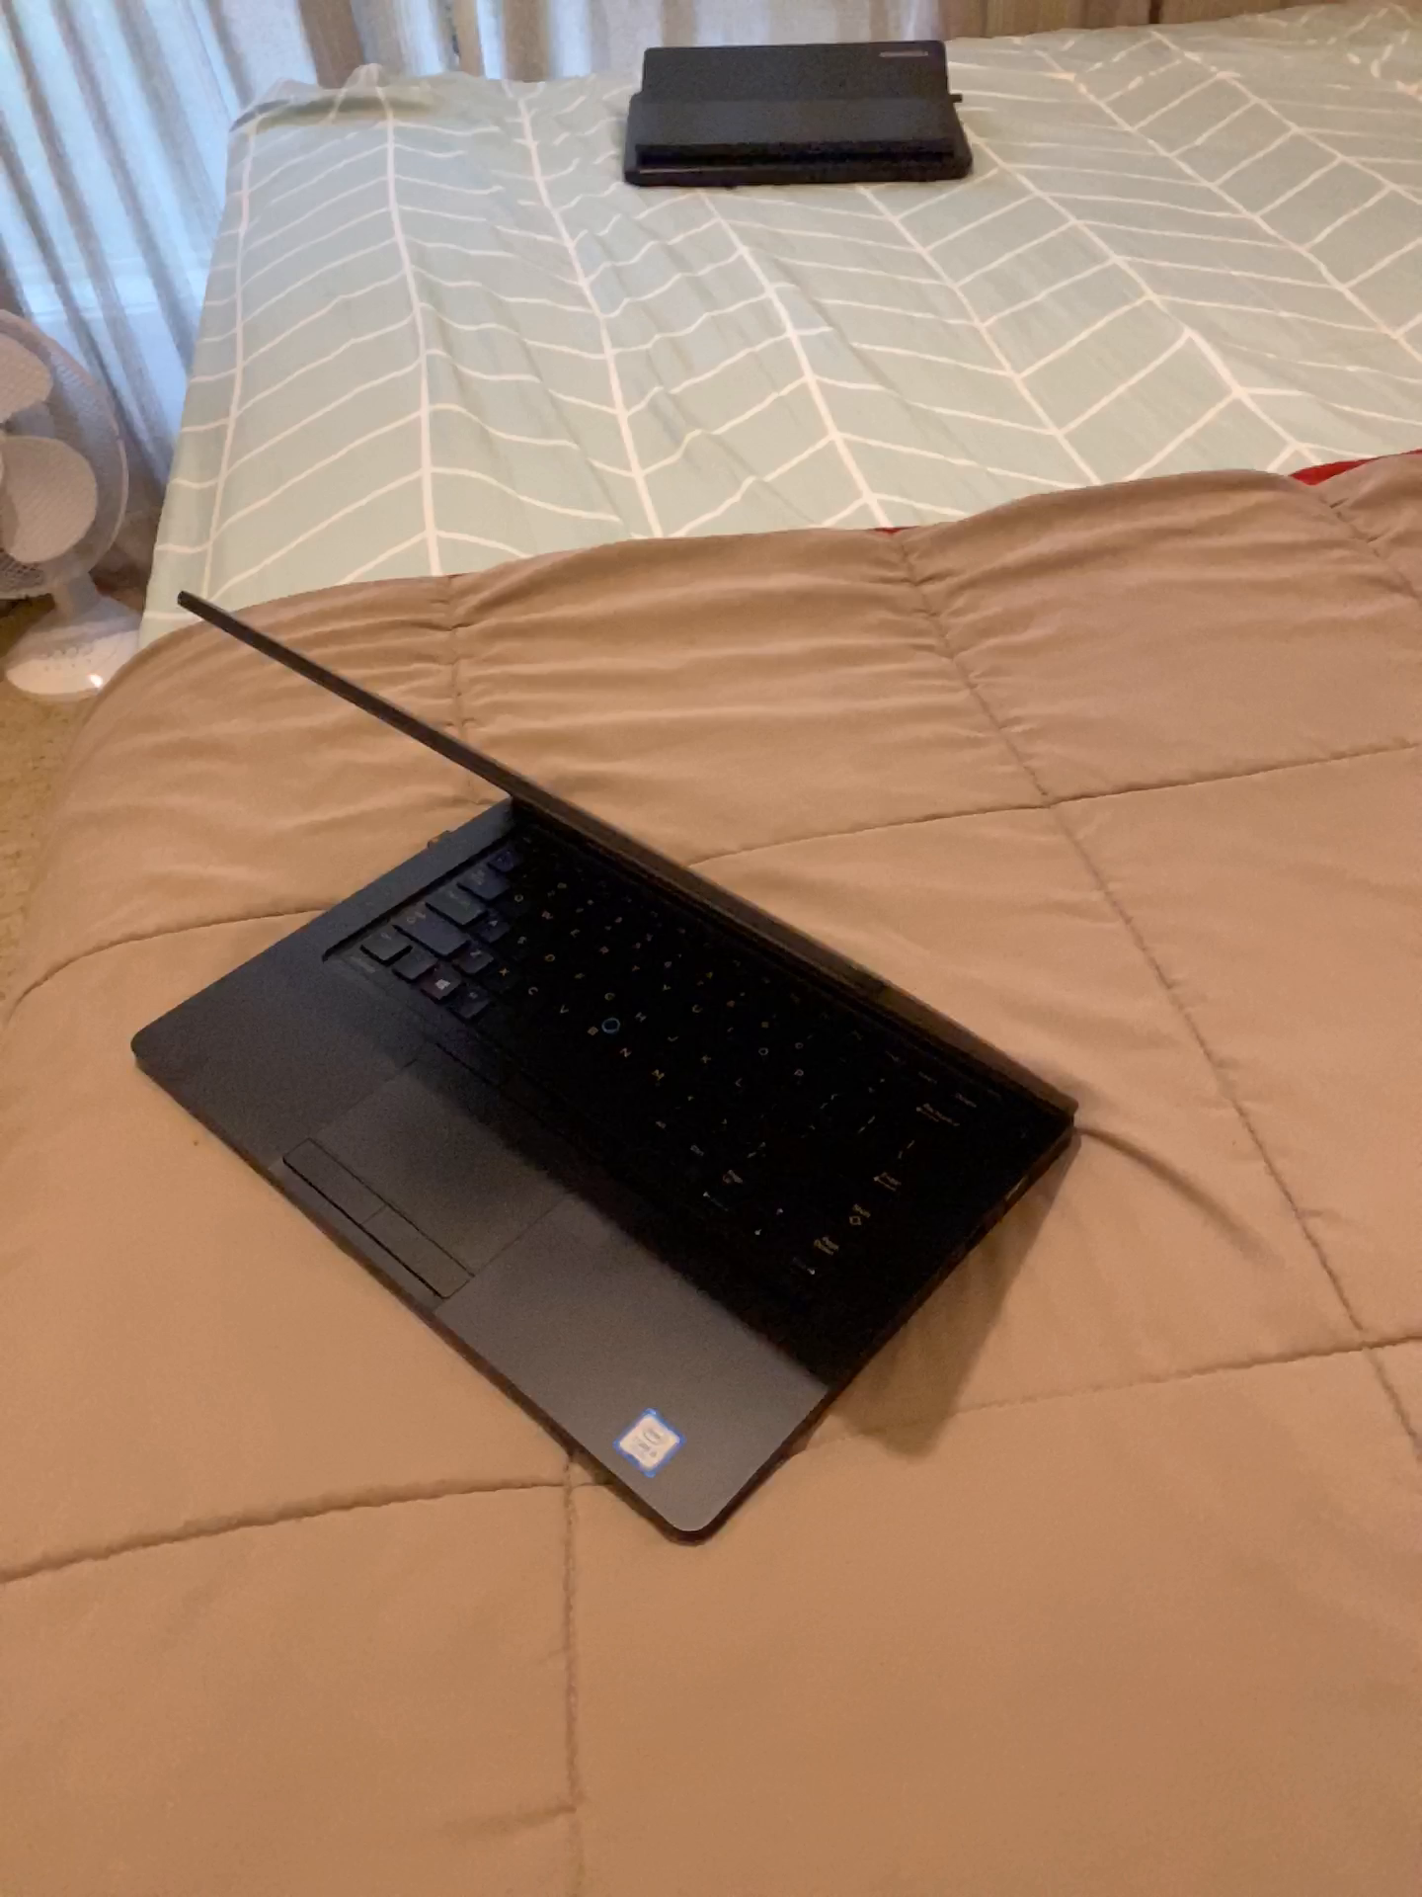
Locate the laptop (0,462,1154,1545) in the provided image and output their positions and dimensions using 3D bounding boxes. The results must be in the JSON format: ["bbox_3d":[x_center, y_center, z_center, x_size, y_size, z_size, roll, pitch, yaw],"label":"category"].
[{"bbox_3d":[-0.058,-0.010,0.538,0.335,0.183,0.227,30,53,31],"label":"laptop"}]
